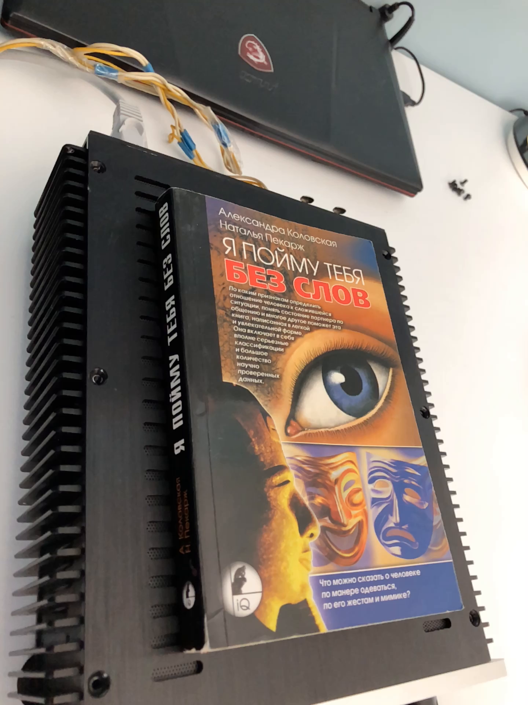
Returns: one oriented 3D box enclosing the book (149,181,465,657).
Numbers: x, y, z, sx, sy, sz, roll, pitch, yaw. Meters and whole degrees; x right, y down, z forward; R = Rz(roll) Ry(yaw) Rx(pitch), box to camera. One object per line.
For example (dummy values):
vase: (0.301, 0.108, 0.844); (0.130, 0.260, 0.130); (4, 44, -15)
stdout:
book: (0.015, 0.021, 0.256); (0.123, 0.023, 0.183); (9, 62, -32)
